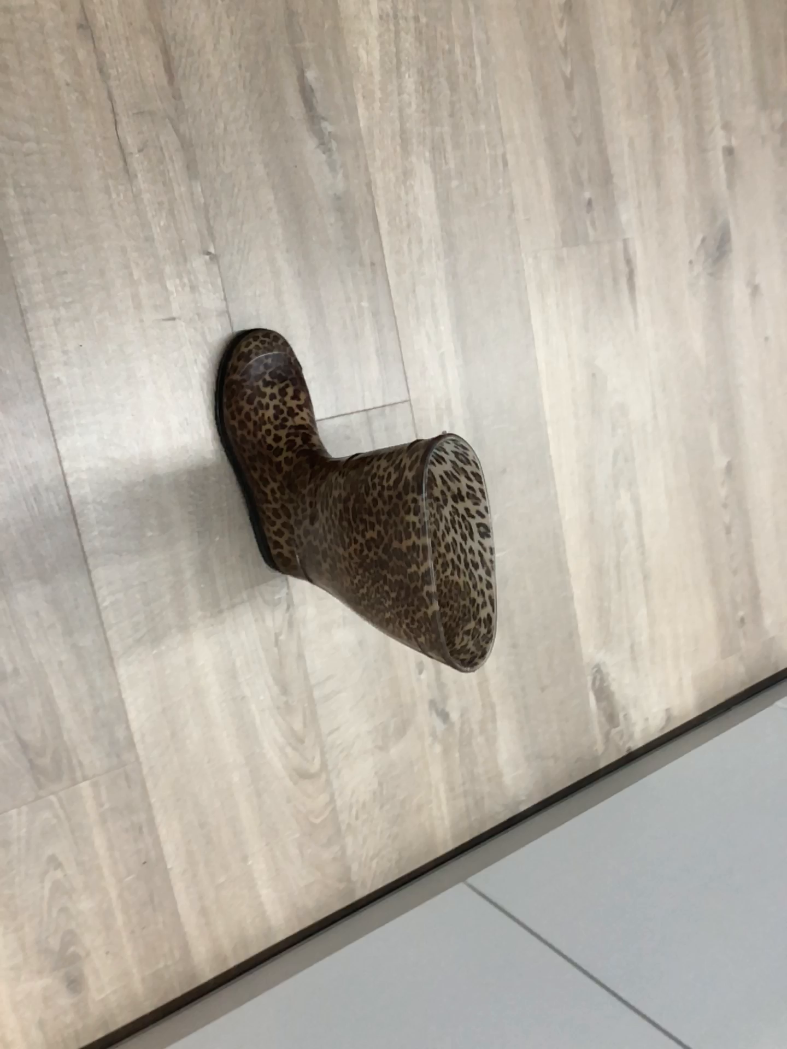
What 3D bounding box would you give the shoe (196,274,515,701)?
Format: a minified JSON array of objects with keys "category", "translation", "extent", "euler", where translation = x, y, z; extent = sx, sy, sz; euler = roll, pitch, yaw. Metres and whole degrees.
[{"category":"shoe","translation":[-0.051,-0.038,0.732],"extent":[0.090,0.339,0.280],"euler":[-11,99,-30]}]
